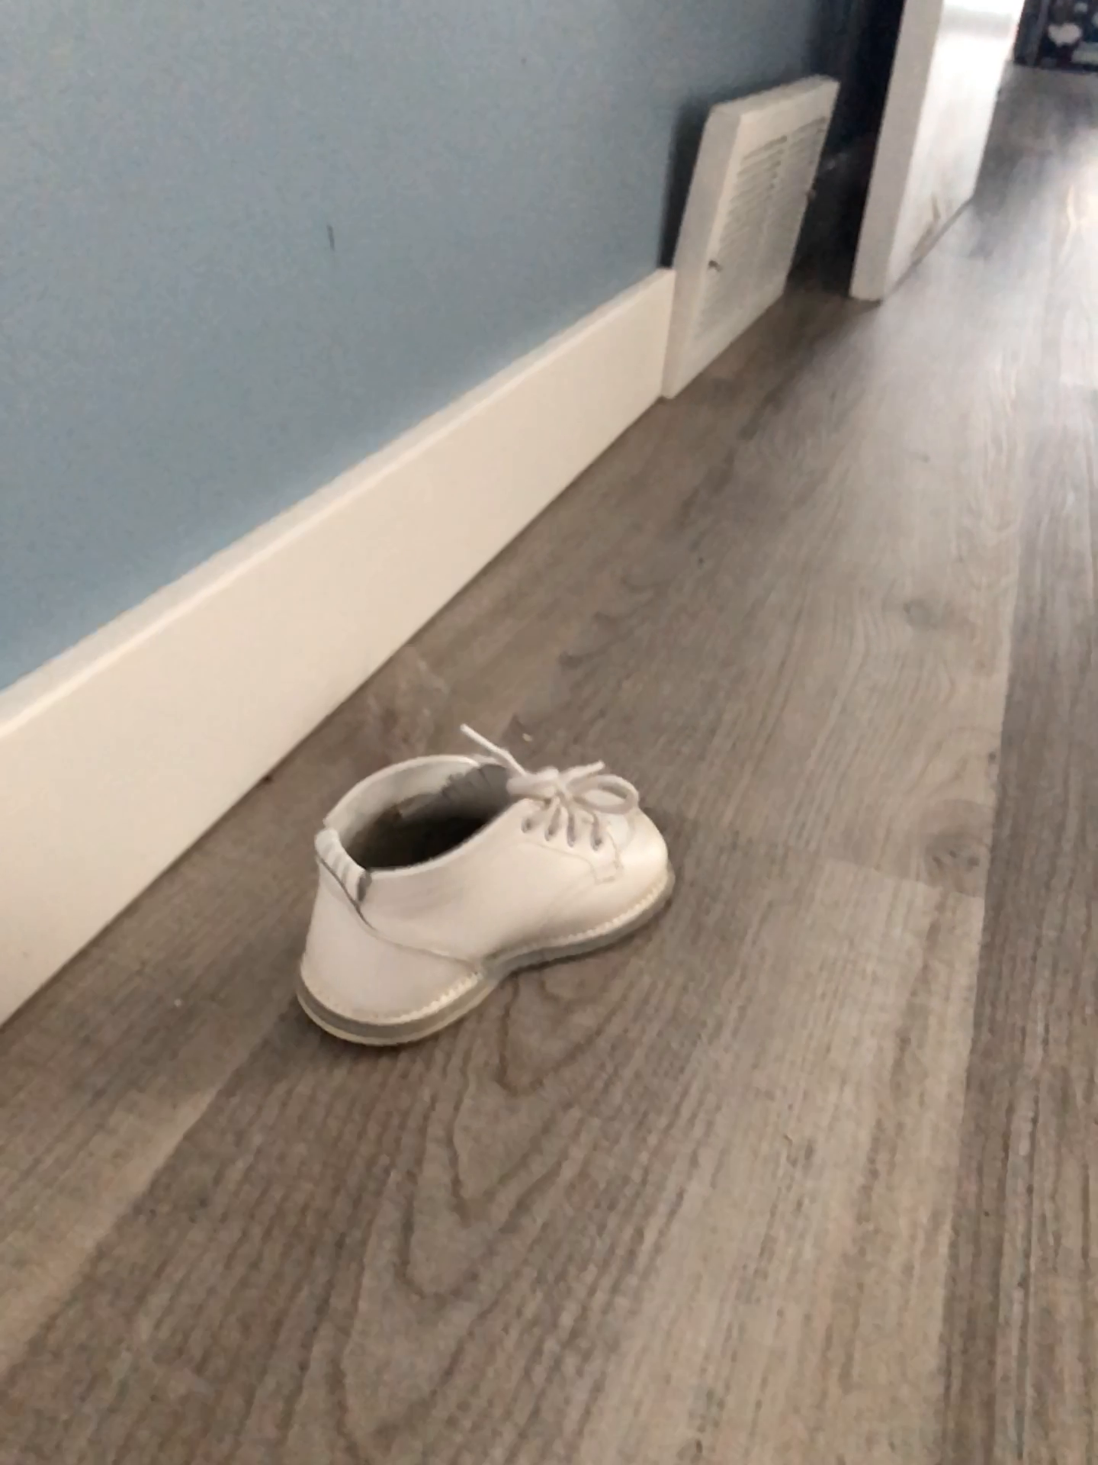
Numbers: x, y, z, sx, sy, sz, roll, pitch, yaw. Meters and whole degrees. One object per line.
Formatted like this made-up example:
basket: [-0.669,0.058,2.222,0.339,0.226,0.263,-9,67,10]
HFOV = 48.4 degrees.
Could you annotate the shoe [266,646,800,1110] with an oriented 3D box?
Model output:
shoe: [-0.001,0.034,0.362,0.150,0.060,0.060,-24,43,-37]
